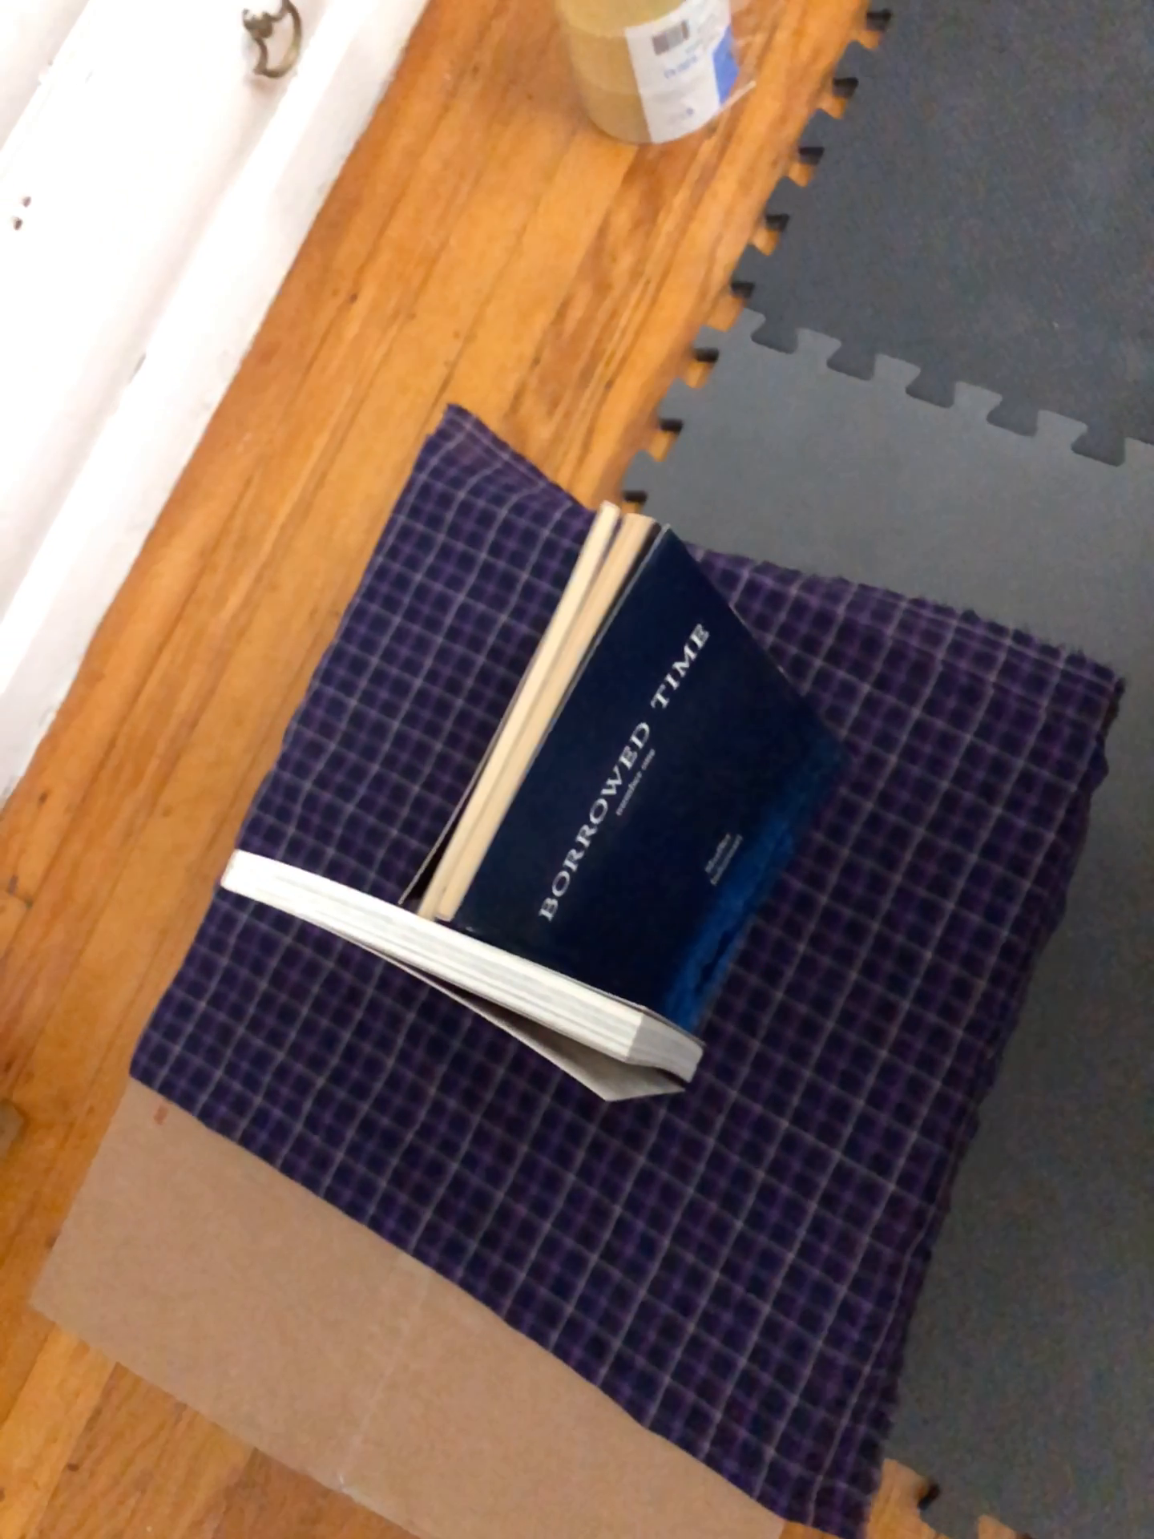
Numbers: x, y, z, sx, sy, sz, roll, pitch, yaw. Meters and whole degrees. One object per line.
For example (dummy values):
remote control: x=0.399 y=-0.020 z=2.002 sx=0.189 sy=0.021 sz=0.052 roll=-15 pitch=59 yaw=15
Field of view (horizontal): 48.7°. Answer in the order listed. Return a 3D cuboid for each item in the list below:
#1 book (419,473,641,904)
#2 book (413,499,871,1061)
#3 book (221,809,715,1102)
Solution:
book: x=-0.020 y=-0.019 z=0.485 sx=0.010 sy=0.200 sz=0.140 roll=25 pitch=85 yaw=-2
book: x=0.039 y=0.019 z=0.466 sx=0.010 sy=0.200 sz=0.150 roll=23 pitch=82 yaw=37
book: x=-0.026 y=0.075 z=0.461 sx=0.140 sy=0.190 sz=0.020 roll=21 pitch=77 yaw=16
